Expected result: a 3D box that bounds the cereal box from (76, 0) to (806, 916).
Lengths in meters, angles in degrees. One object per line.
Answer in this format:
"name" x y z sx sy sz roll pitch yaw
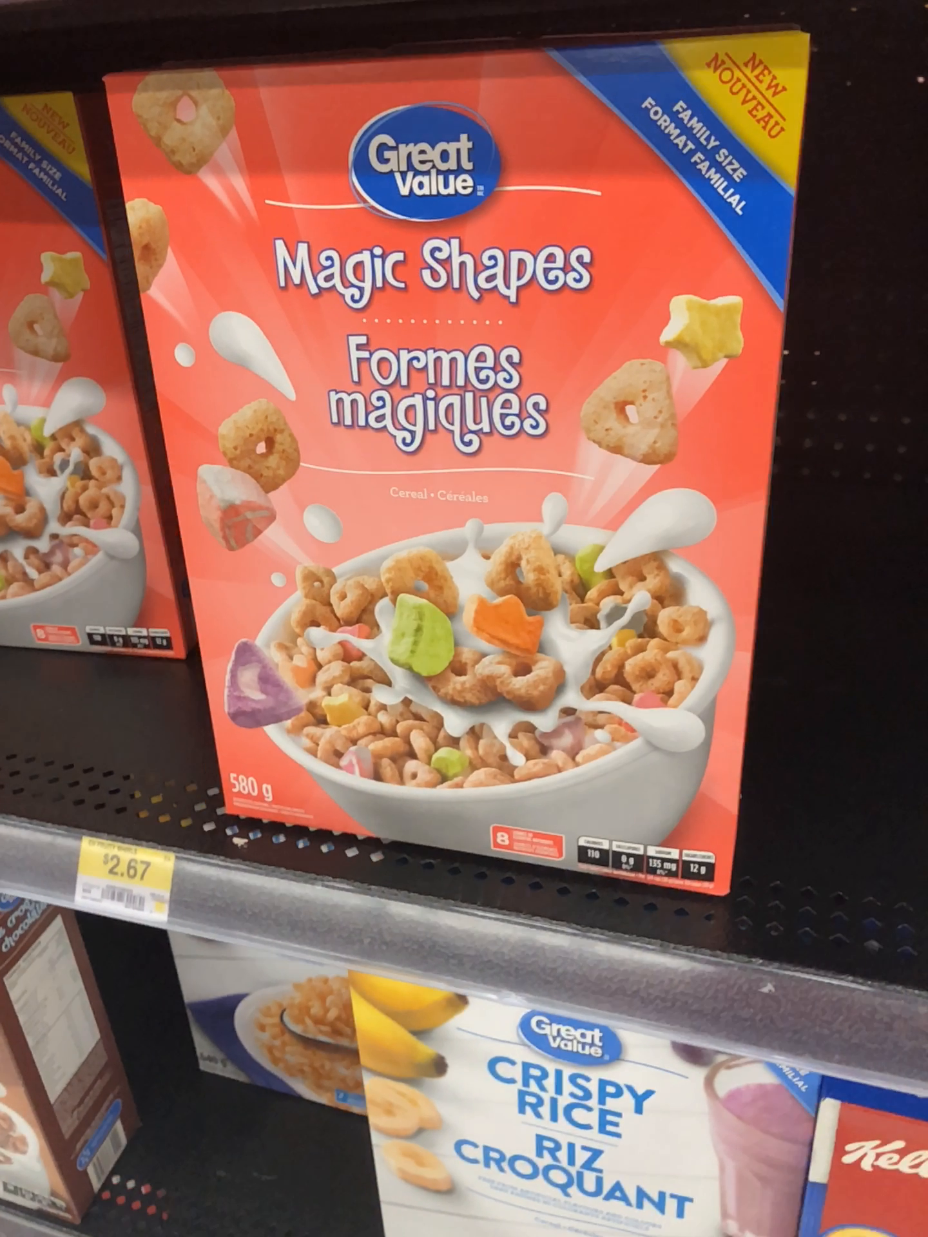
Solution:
"cereal box" -0.003 -0.055 0.441 0.250 0.339 0.080 6 26 17
